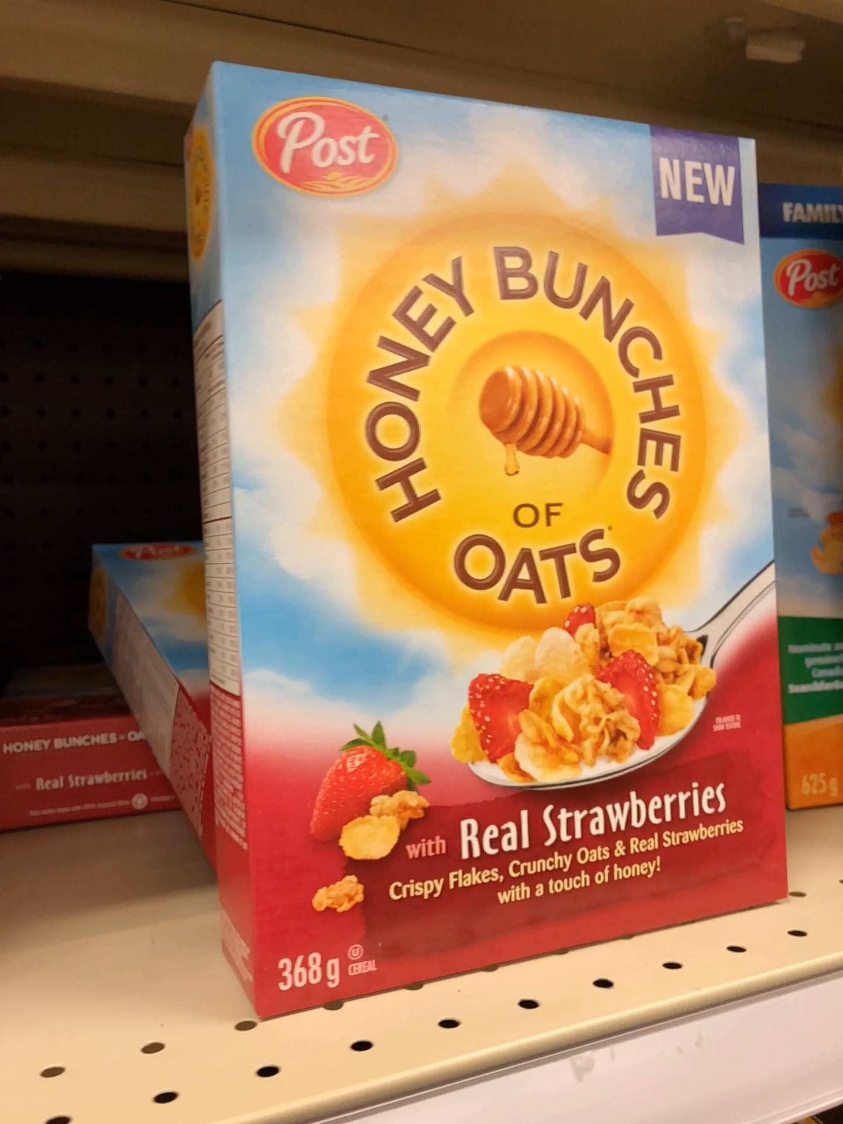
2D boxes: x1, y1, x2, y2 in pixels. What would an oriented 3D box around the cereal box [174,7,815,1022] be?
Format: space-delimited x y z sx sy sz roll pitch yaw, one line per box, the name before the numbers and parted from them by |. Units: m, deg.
cereal box | 0.029 -0.017 0.309 0.200 0.270 0.050 -2 0 -21
